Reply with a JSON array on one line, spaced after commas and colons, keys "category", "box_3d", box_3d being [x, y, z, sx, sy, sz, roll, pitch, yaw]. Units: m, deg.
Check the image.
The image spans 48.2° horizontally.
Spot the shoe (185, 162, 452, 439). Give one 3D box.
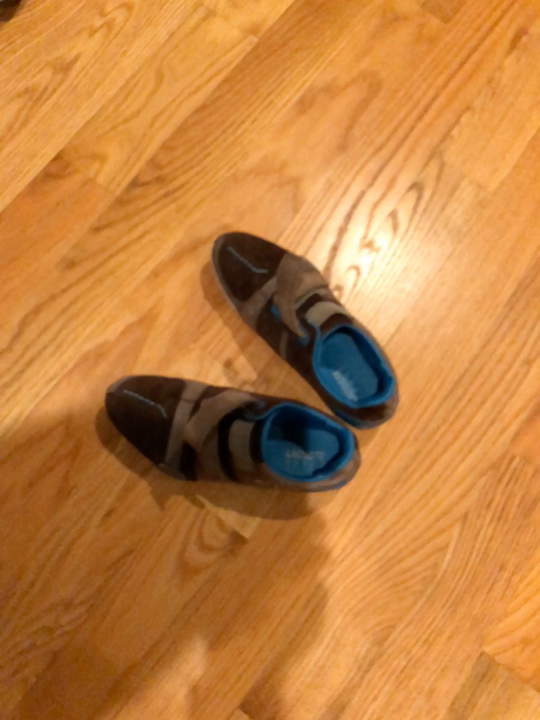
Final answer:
[{"category": "shoe", "box_3d": [0.041, -0.055, 0.602, 0.102, 0.092, 0.255, -41, 83, -11]}]

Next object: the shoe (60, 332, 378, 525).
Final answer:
[{"category": "shoe", "box_3d": [-0.044, 0.067, 0.566, 0.255, 0.092, 0.102, 16, 77, -1]}]
